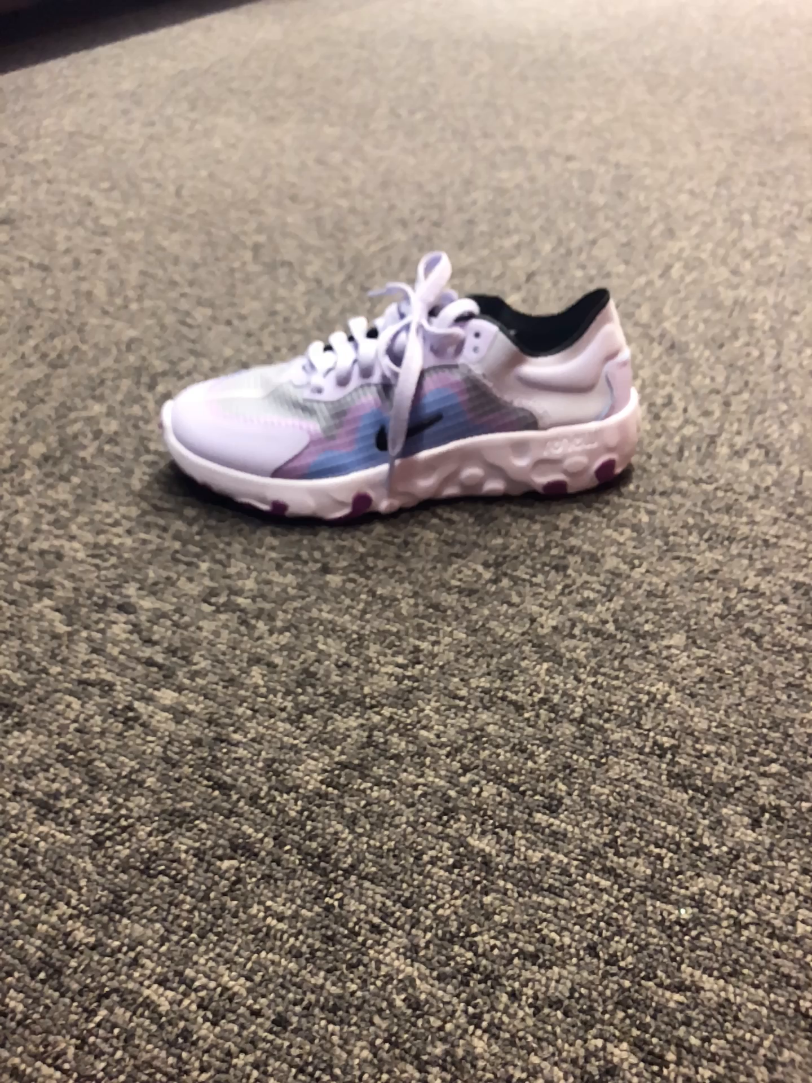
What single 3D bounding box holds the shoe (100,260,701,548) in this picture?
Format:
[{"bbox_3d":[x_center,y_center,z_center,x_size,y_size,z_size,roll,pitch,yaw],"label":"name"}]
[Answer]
[{"bbox_3d":[-0.003,-0.072,0.461,0.260,0.099,0.101,-2,39,-3],"label":"shoe"}]
